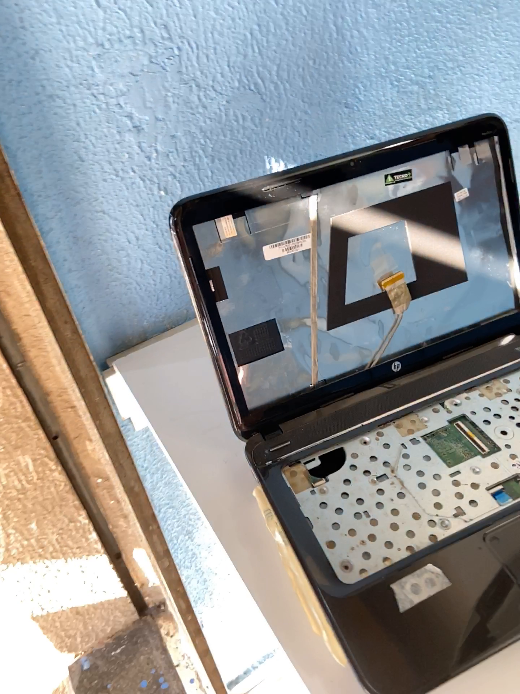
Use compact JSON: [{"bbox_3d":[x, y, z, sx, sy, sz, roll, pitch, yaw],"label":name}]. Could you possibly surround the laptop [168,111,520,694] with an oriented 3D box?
[{"bbox_3d":[0.151,-0.011,0.416,0.335,0.186,0.325,-20,40,-13],"label":"laptop"}]
